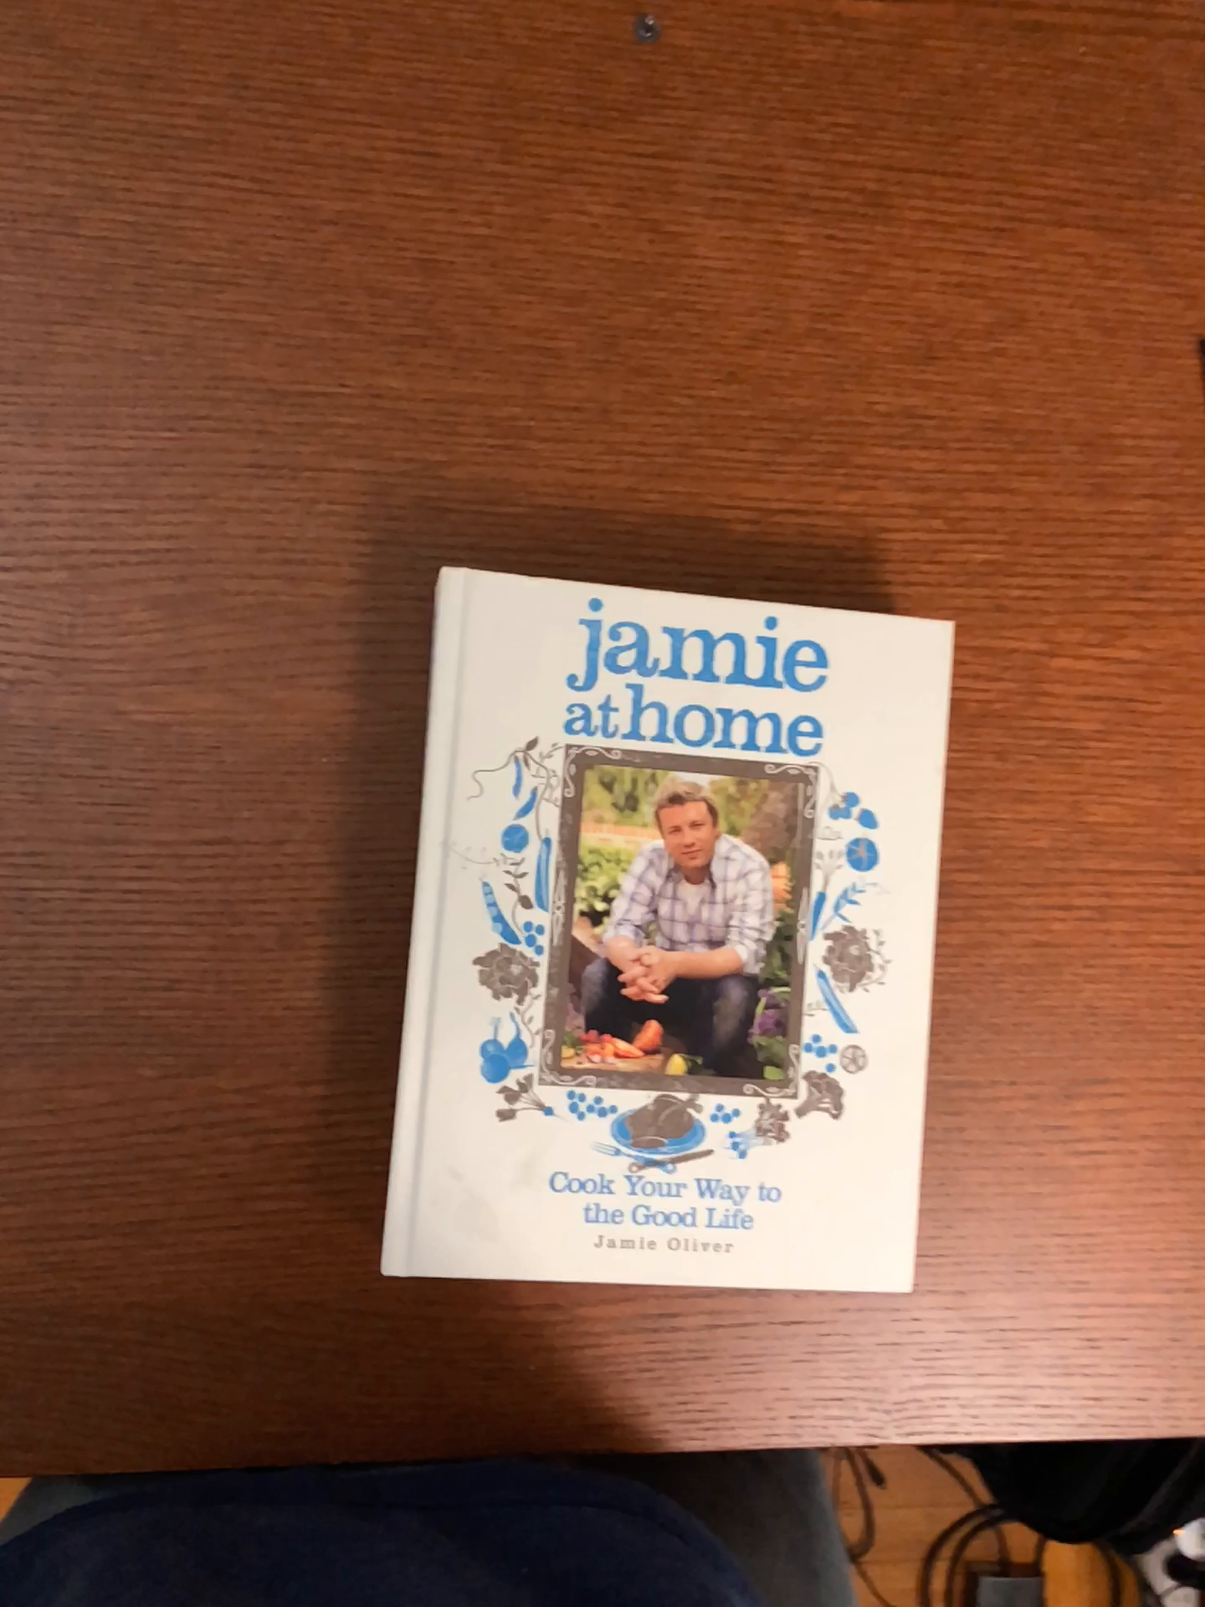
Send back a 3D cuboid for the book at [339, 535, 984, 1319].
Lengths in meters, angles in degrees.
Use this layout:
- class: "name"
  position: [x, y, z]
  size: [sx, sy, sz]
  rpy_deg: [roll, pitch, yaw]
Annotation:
- class: "book"
  position: [0.023, 0.046, 0.488]
  size: [0.210, 0.040, 0.260]
  rpy_deg: [5, 86, -7]
